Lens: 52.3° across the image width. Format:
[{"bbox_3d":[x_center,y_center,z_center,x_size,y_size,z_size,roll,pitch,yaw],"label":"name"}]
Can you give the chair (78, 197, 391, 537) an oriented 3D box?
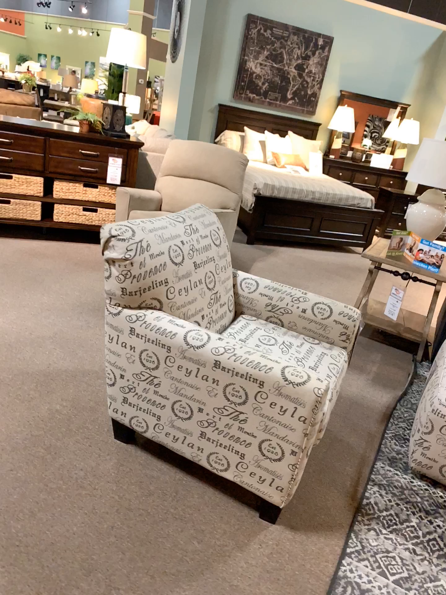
[{"bbox_3d":[0.073,0.163,1.901,0.916,0.870,0.837,19,23,17],"label":"chair"}]
